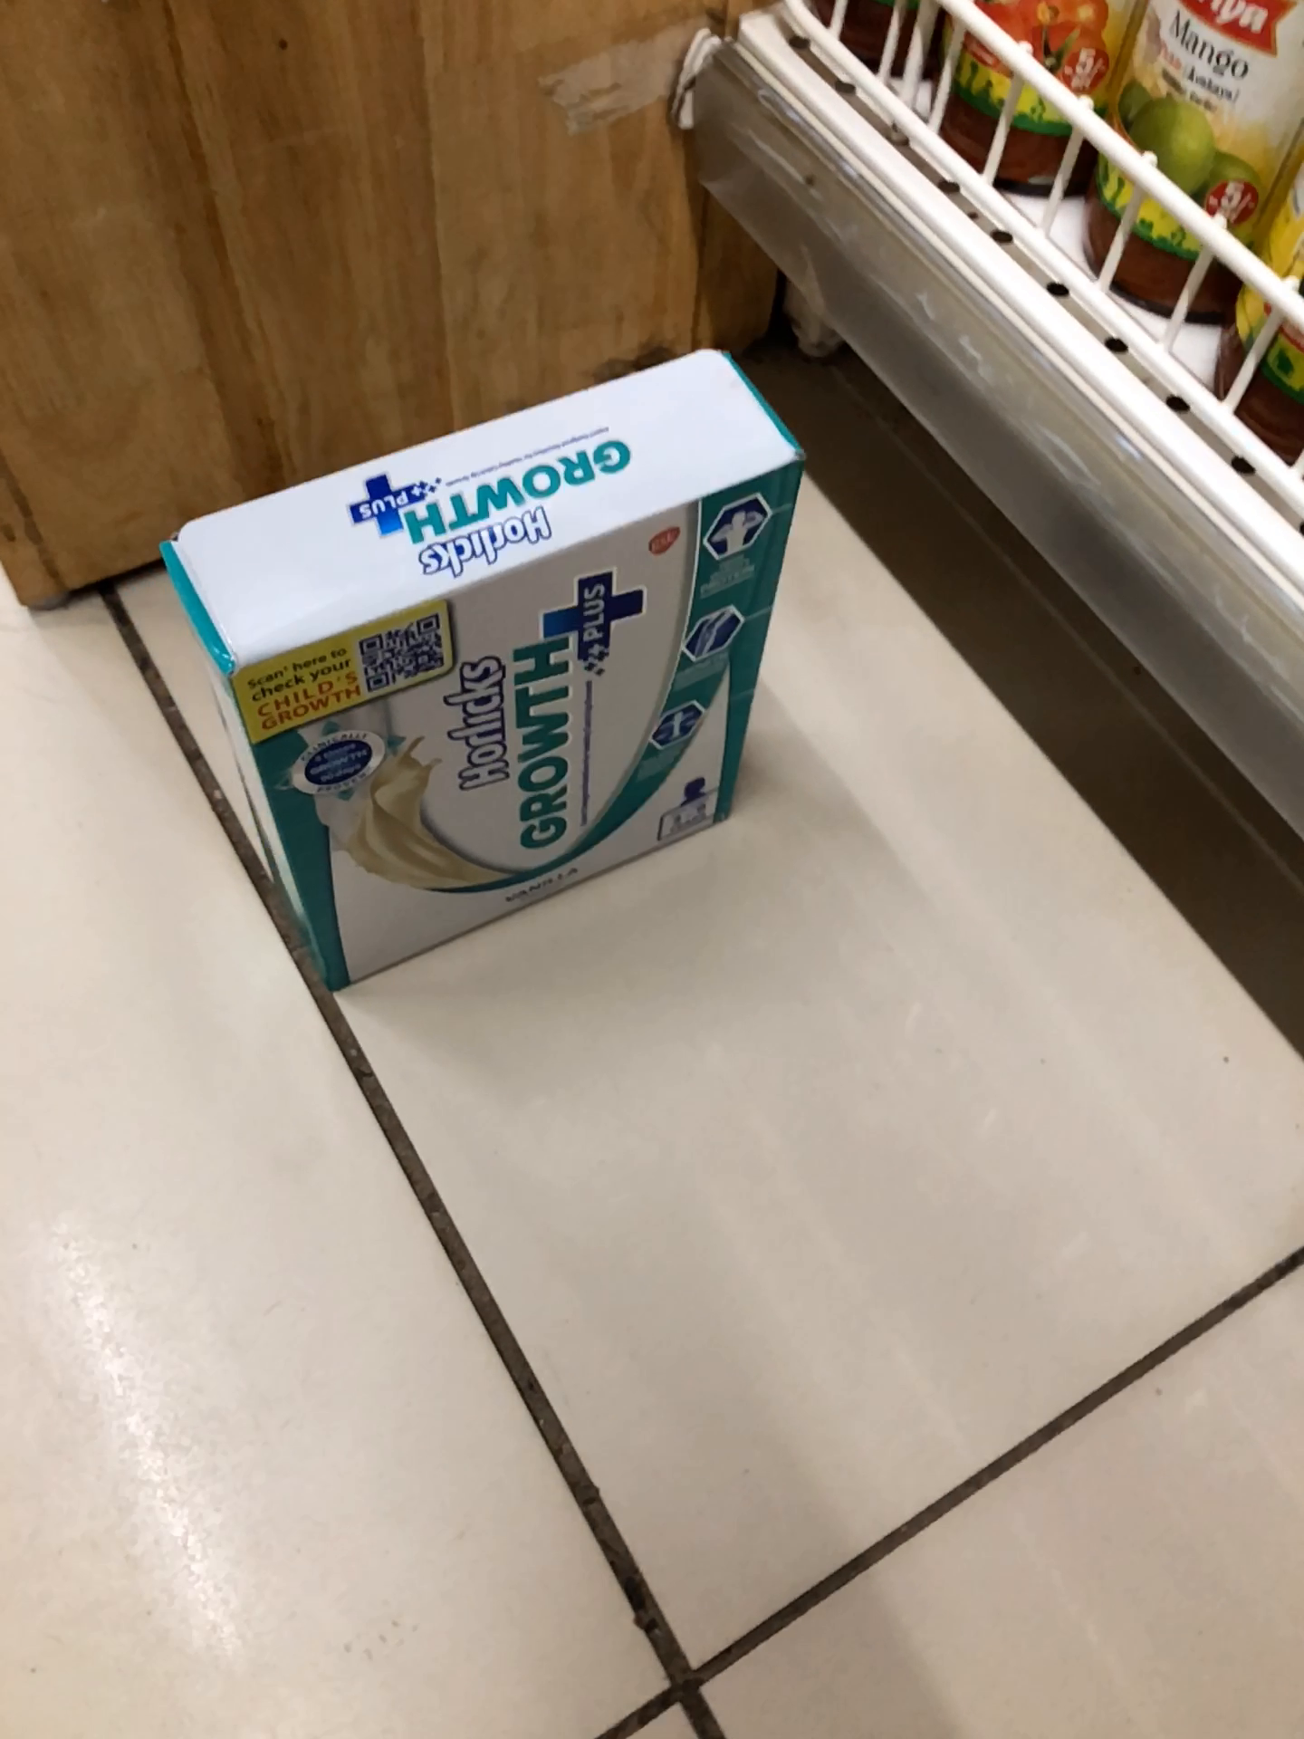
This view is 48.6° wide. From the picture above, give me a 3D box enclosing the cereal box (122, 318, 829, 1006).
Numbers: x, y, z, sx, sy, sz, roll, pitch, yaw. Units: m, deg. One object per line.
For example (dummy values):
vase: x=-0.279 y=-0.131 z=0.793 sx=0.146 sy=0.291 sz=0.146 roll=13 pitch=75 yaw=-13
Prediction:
cereal box: x=-0.041 y=-0.047 z=0.393 sx=0.150 sy=0.159 sz=0.050 roll=-24 pitch=64 yaw=-16
